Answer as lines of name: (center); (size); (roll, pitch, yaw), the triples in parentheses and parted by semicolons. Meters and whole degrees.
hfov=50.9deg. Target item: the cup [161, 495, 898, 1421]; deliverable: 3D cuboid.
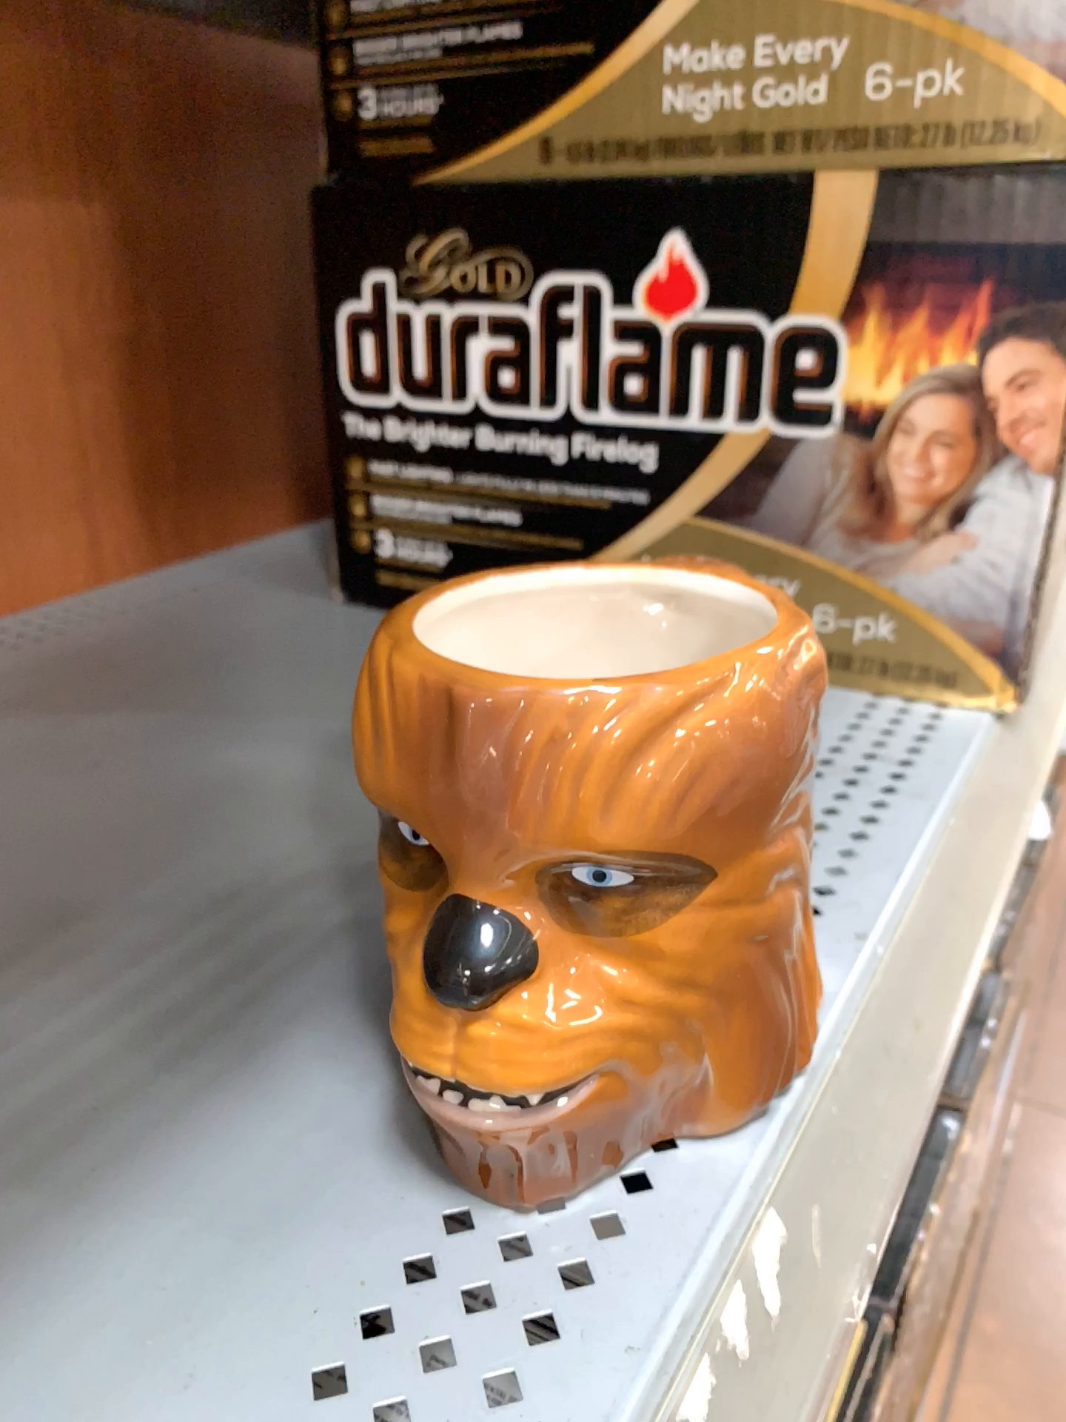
cup: (0.009, 0.036, 0.255); (0.098, 0.138, 0.132); (12, 25, 28)
